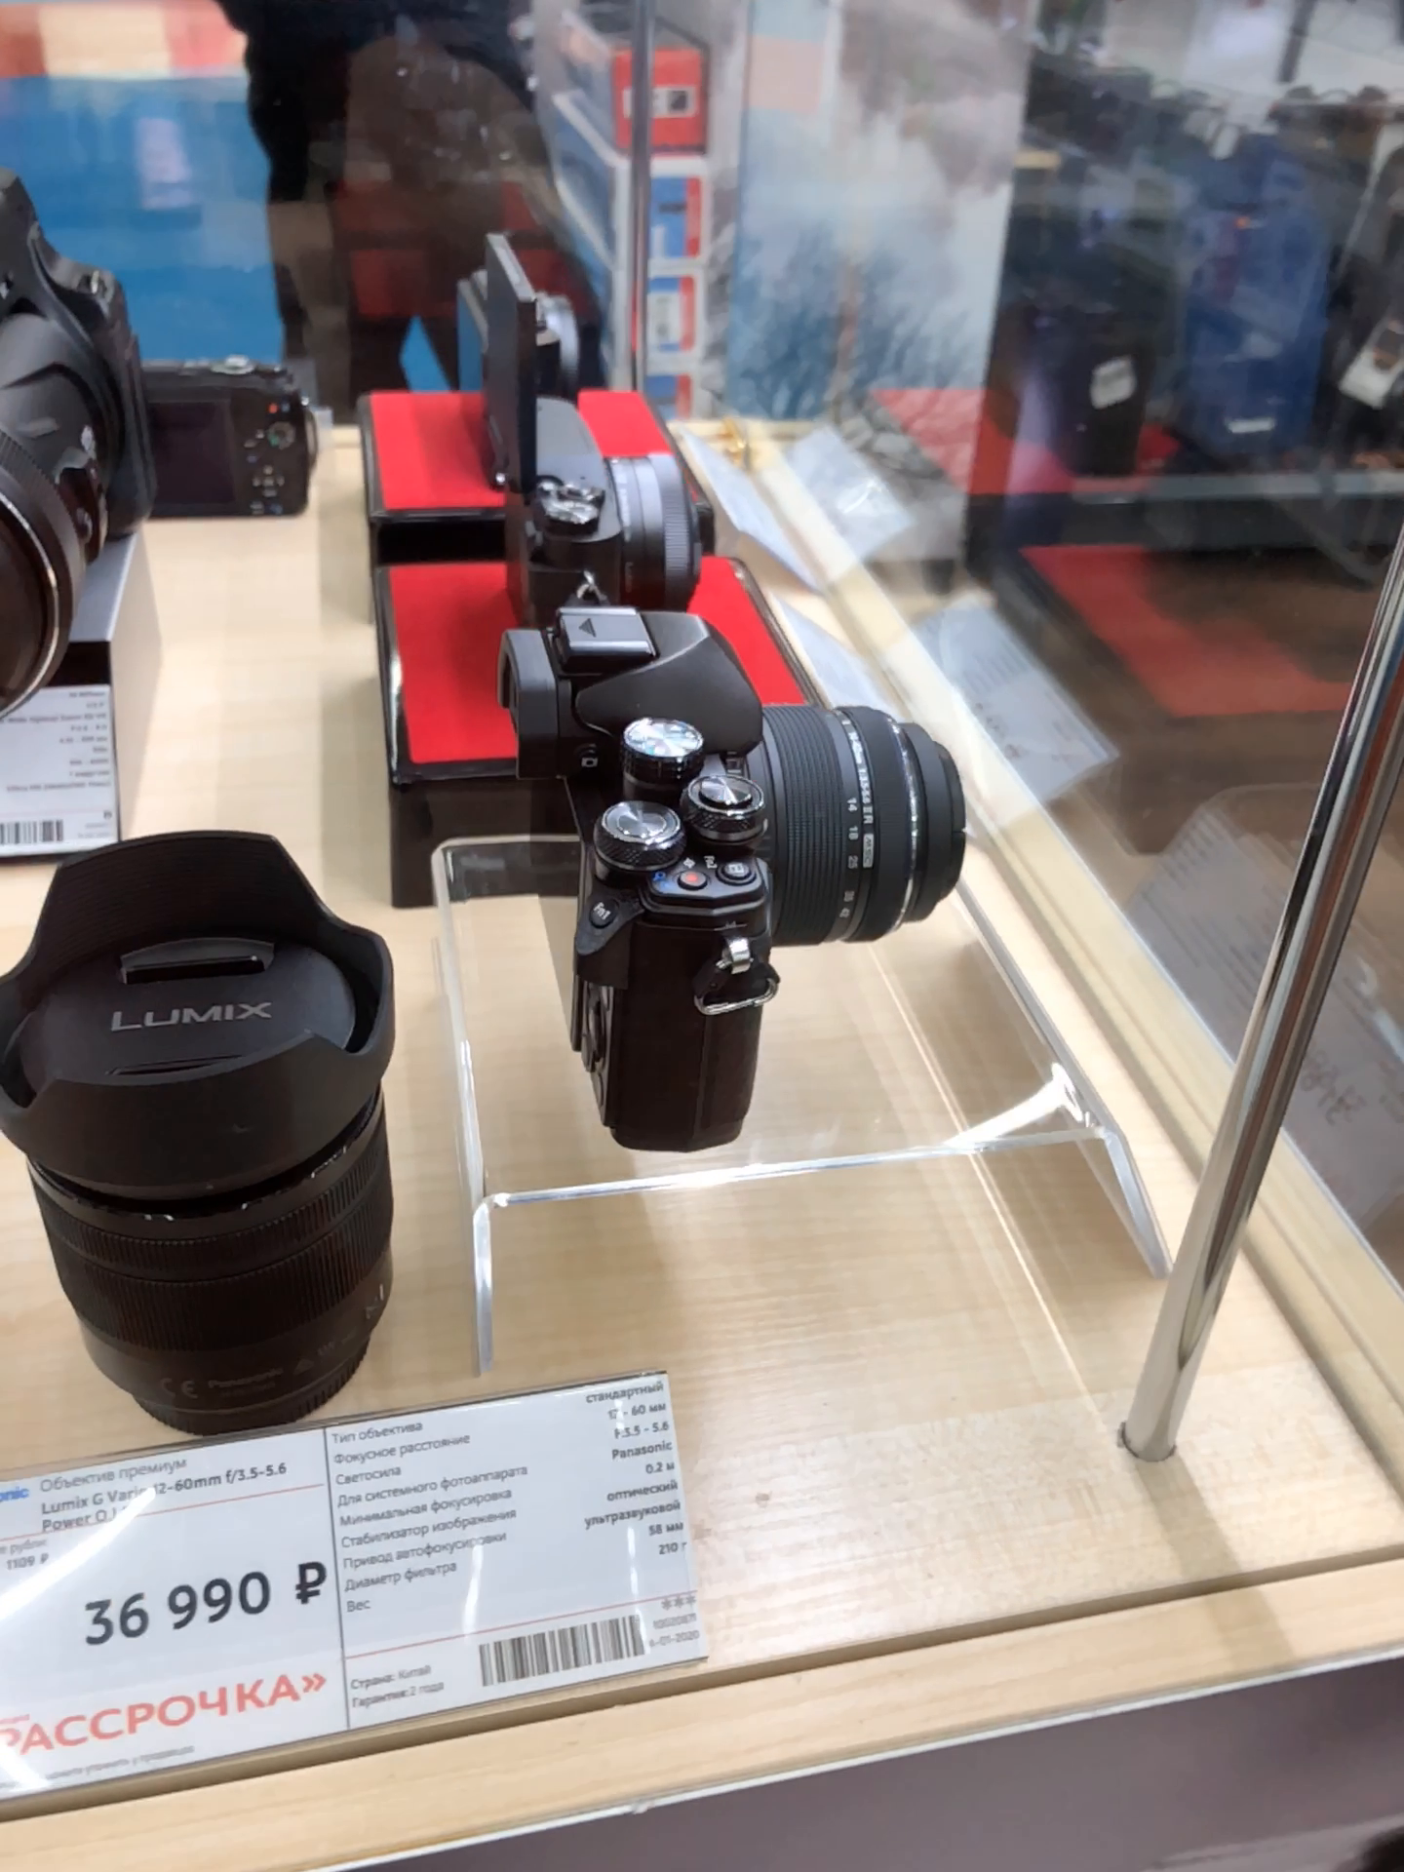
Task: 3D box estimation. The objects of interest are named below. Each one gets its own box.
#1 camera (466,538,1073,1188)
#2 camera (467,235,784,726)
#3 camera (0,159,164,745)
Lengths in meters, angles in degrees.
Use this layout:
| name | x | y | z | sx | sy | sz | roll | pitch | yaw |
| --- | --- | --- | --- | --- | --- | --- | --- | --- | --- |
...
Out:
| name | x | y | z | sx | sy | sz | roll | pitch | yaw |
| --- | --- | --- | --- | --- | --- | --- | --- | --- | --- |
| camera | 0.005 | -0.023 | 0.349 | 0.101 | 0.088 | 0.118 | -5 | 36 | -11 |
| camera | -0.029 | -0.143 | 0.478 | 0.072 | 0.109 | 0.118 | -5 | 36 | -11 |
| camera | -0.235 | -0.150 | 0.460 | 0.104 | 0.109 | 0.186 | -2 | 36 | -7 |
